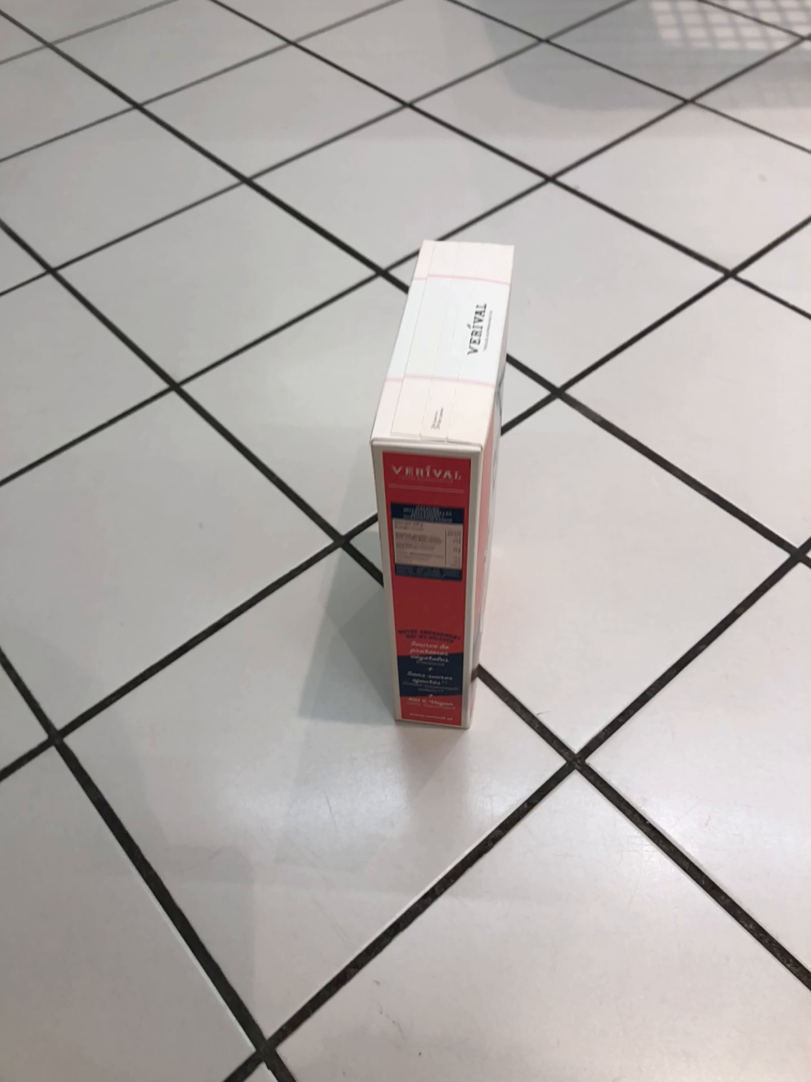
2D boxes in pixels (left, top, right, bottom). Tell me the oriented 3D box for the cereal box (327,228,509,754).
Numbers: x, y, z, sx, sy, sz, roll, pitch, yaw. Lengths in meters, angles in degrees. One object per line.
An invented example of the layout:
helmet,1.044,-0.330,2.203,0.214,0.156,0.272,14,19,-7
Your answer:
cereal box,0.013,-0.013,0.434,0.050,0.219,0.141,6,52,8
